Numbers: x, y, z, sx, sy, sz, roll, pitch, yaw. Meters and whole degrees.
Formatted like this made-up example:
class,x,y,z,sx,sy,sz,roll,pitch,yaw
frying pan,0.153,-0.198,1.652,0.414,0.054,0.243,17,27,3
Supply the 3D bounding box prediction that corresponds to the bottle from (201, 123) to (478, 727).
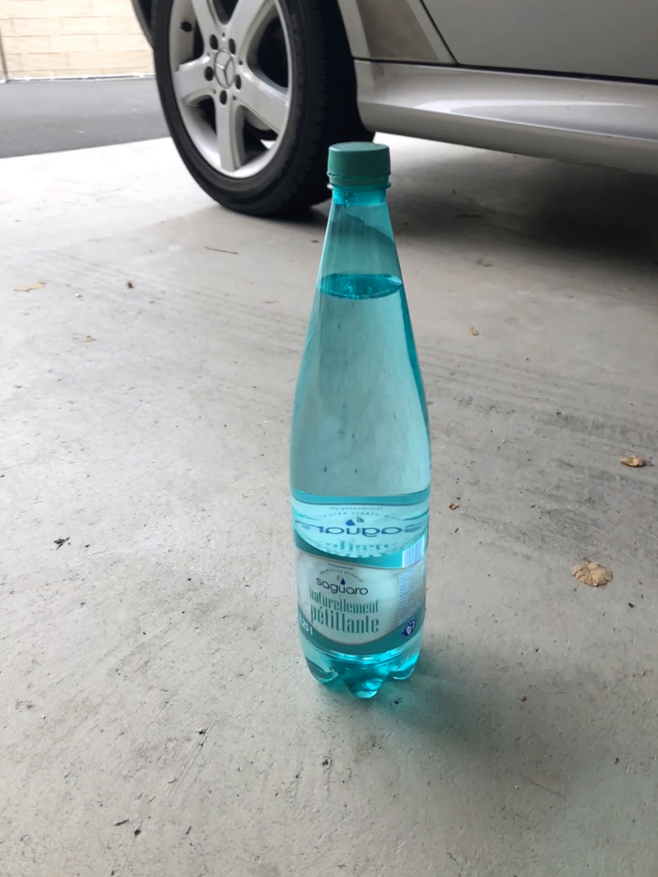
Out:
class,x,y,z,sx,sy,sz,roll,pitch,yaw
bottle,0.011,0.004,0.403,0.100,0.318,0.091,10,31,18
